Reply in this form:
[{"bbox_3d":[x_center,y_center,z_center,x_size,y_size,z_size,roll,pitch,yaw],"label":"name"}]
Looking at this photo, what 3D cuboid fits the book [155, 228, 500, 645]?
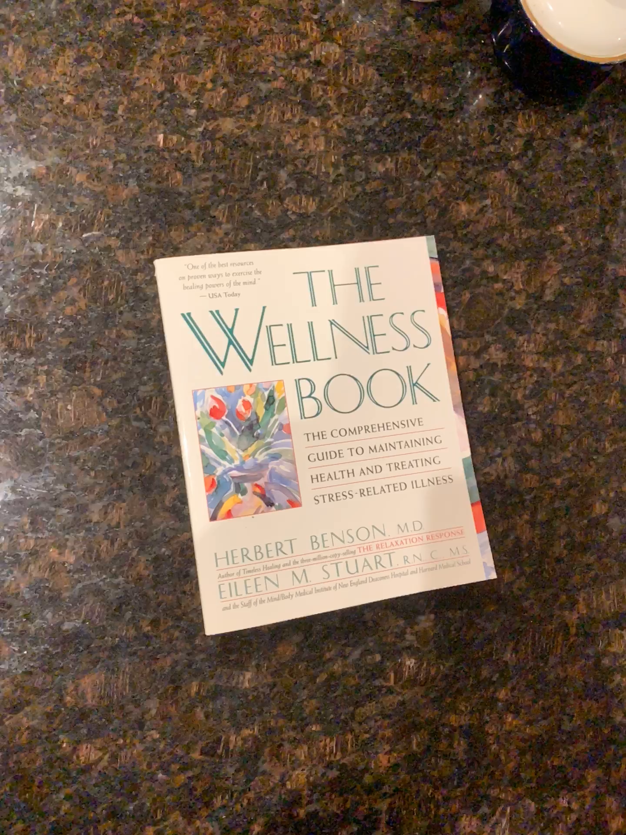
[{"bbox_3d":[0.006,0.006,0.435,0.187,0.060,0.240,-8,85,-12],"label":"book"}]
